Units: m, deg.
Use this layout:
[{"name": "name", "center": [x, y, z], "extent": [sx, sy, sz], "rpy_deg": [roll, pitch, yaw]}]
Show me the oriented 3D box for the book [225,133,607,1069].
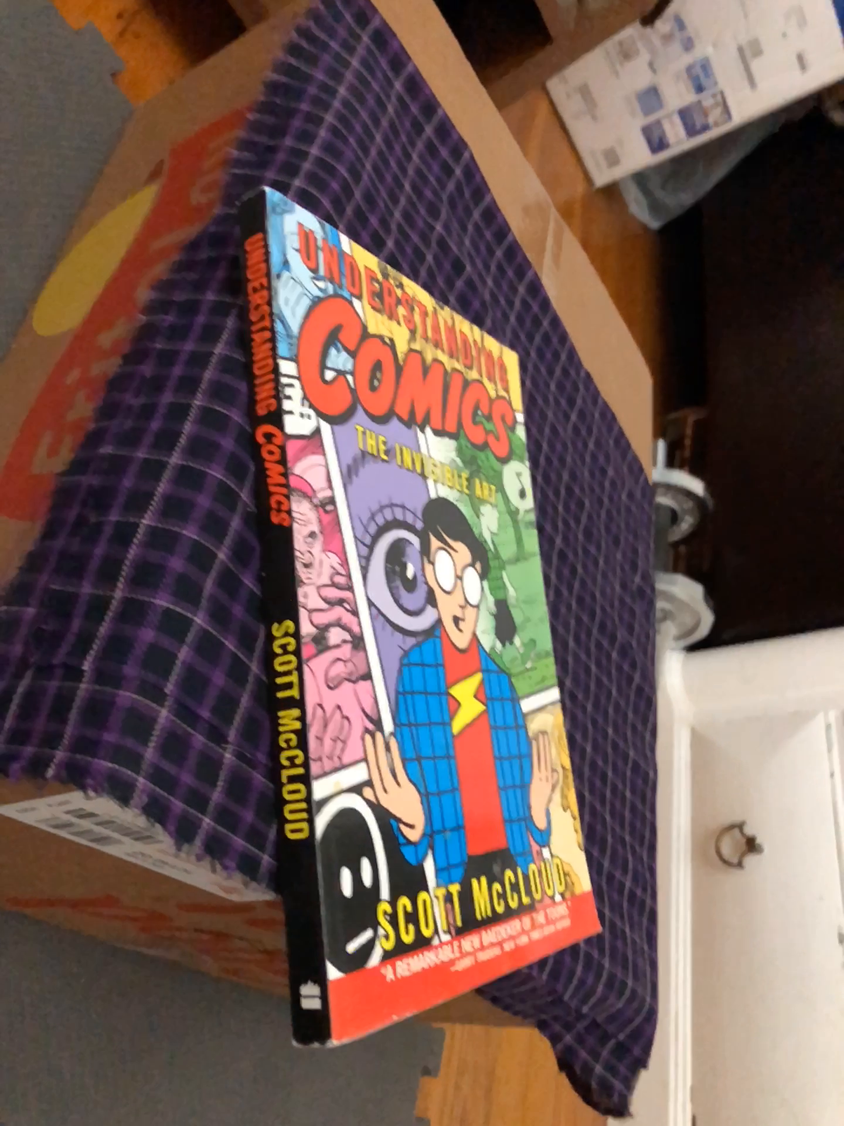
[{"name": "book", "center": [0.004, 0.009, 0.339], "extent": [0.171, 0.020, 0.270], "rpy_deg": [15, 64, -55]}]
